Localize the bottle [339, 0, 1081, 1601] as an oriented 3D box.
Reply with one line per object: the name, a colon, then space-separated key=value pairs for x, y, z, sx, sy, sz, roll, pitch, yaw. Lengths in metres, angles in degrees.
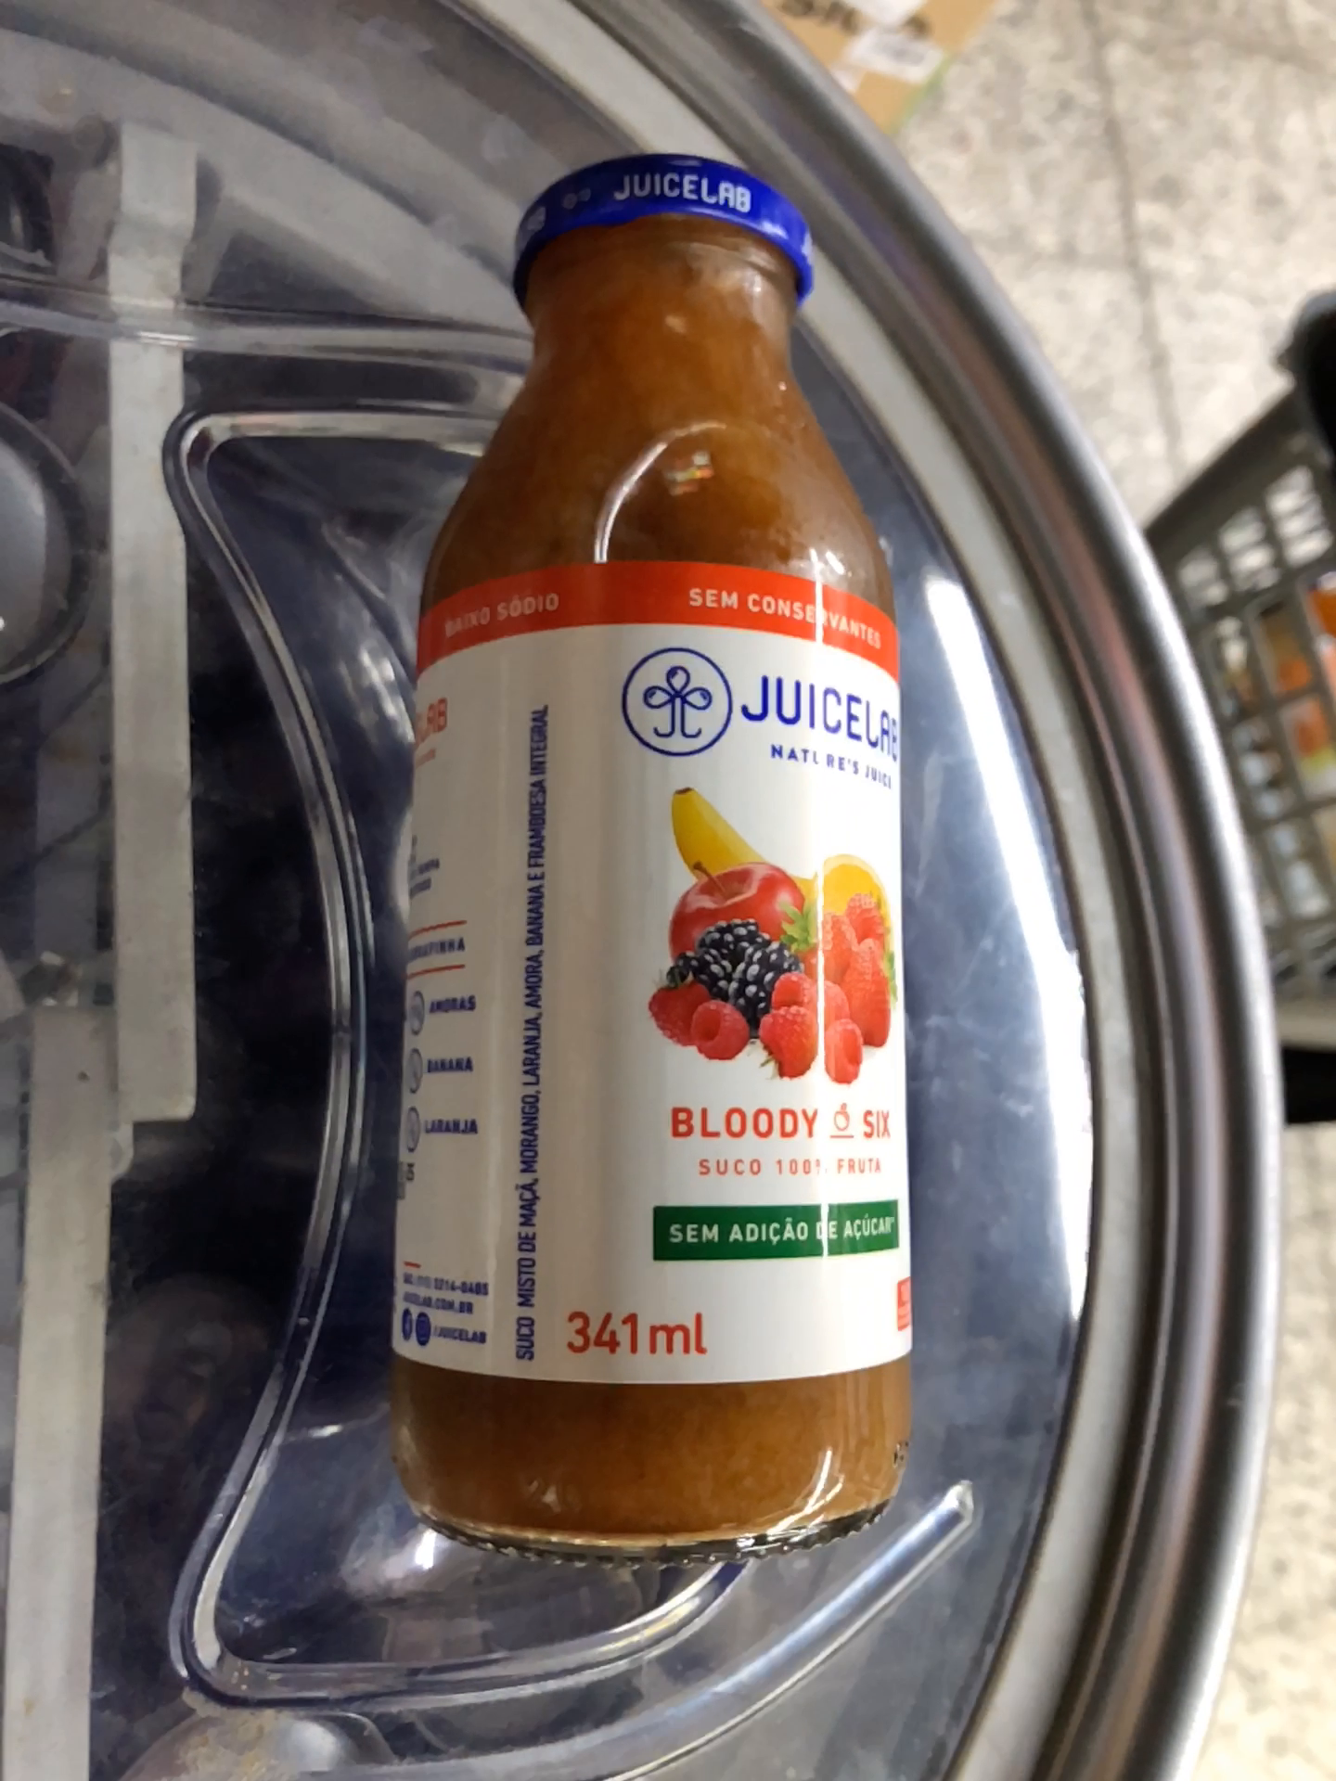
bottle: x=0.003 y=-0.018 z=0.205 sx=0.070 sy=0.060 sz=0.190 roll=8 pitch=76 yaw=-40
